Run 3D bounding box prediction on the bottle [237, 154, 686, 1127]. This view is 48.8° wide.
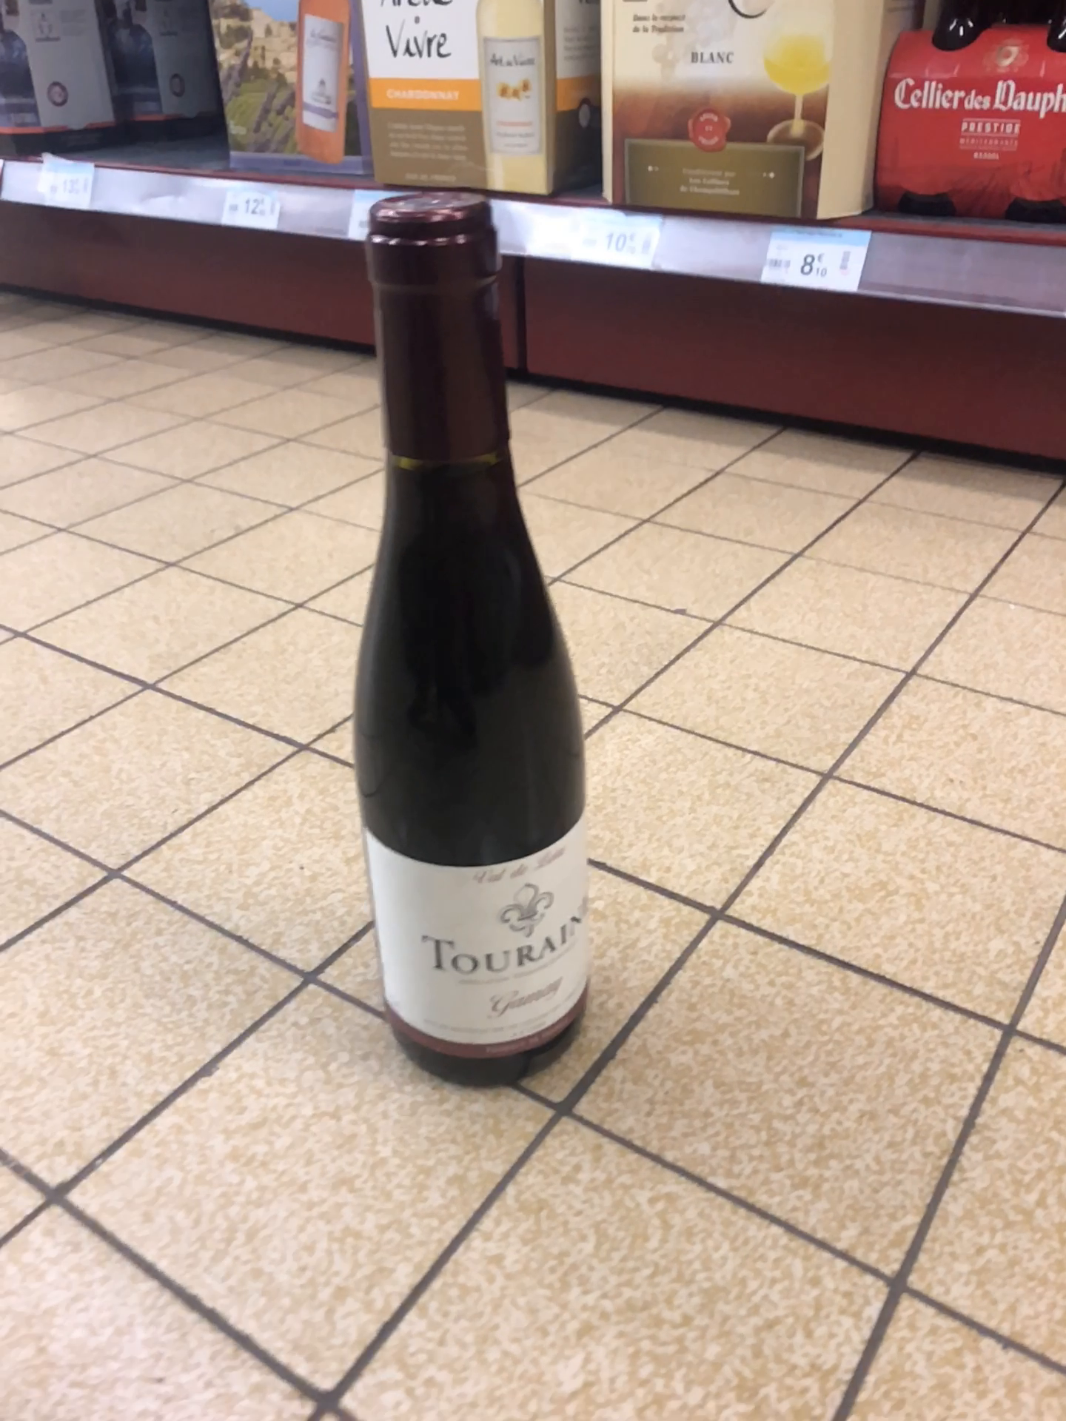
[{"bbox_3d":[-0.016,-0.010,0.309,0.080,0.239,0.070,-10,31,-15],"label":"bottle"}]
